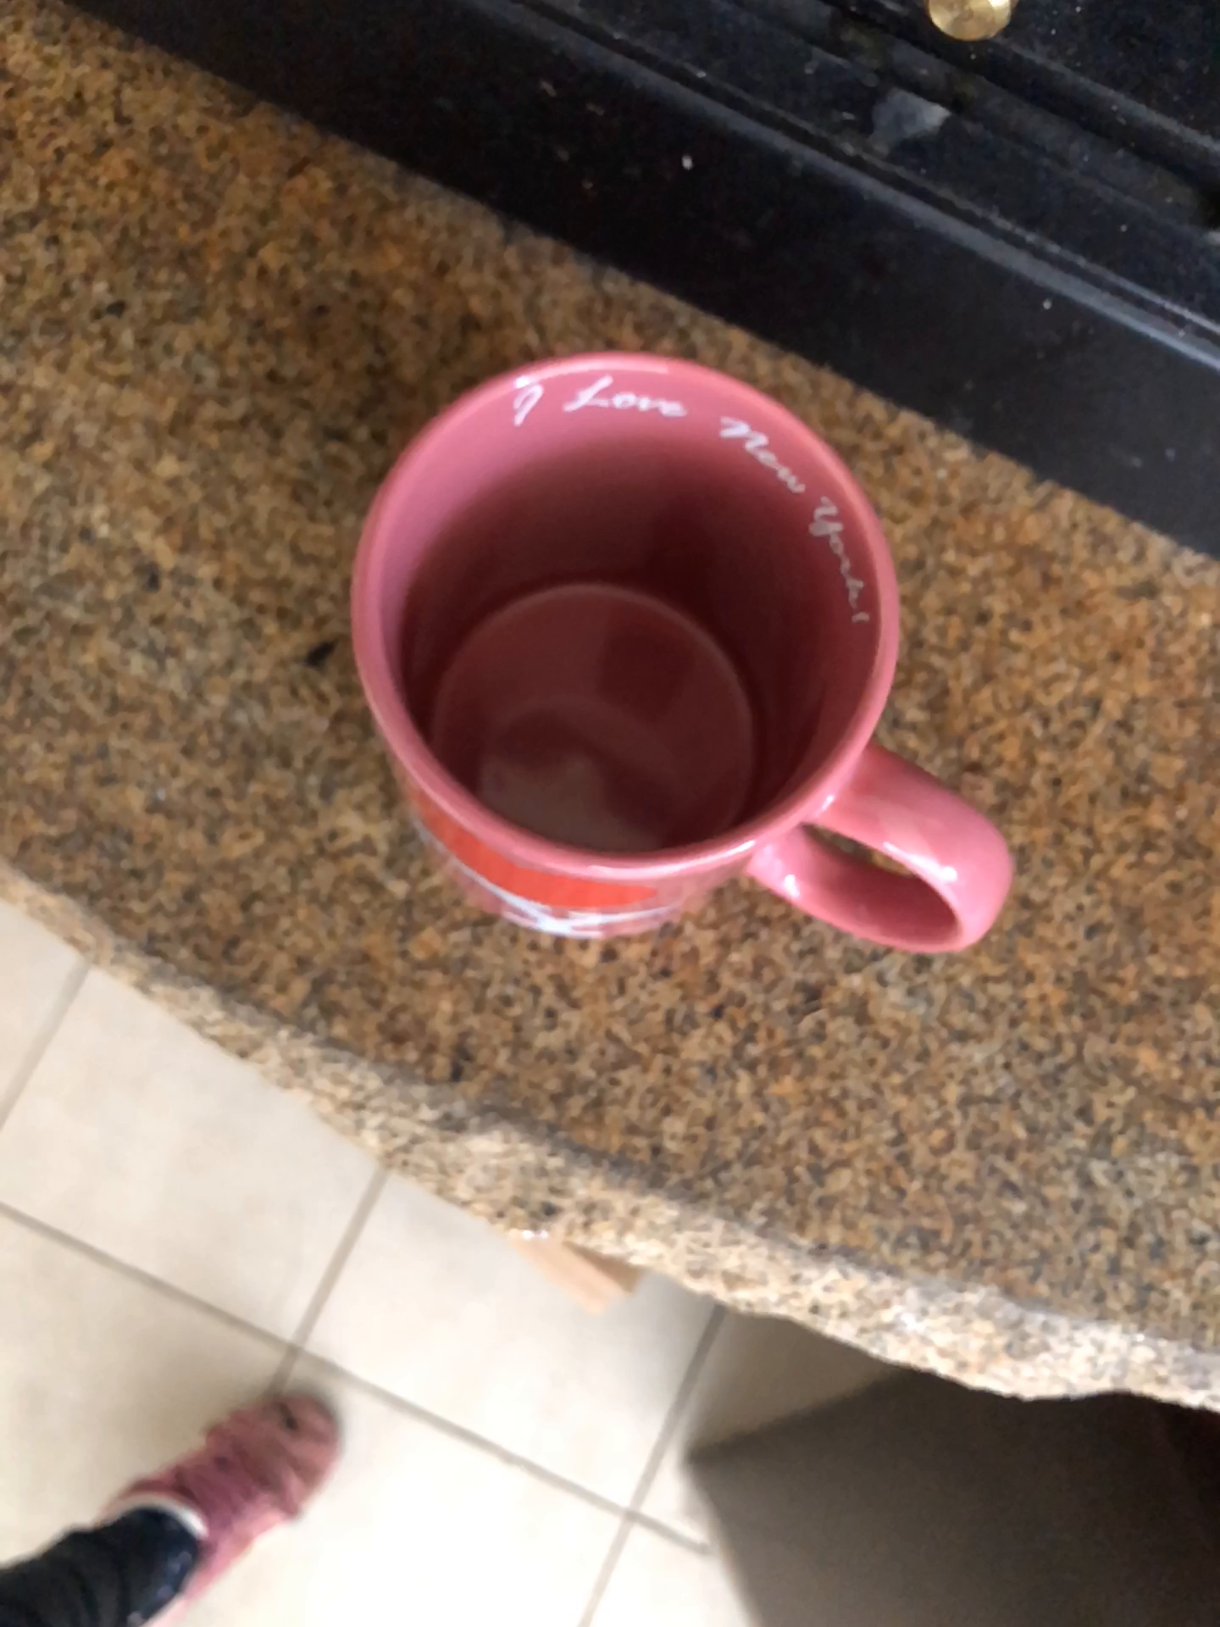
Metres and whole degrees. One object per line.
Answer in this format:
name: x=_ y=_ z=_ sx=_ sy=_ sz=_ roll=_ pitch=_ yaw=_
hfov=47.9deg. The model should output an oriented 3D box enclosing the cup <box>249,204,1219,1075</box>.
cup: x=0.019 y=-0.019 z=0.248 sx=0.120 sy=0.100 sz=0.090 roll=23 pitch=79 yaw=0
